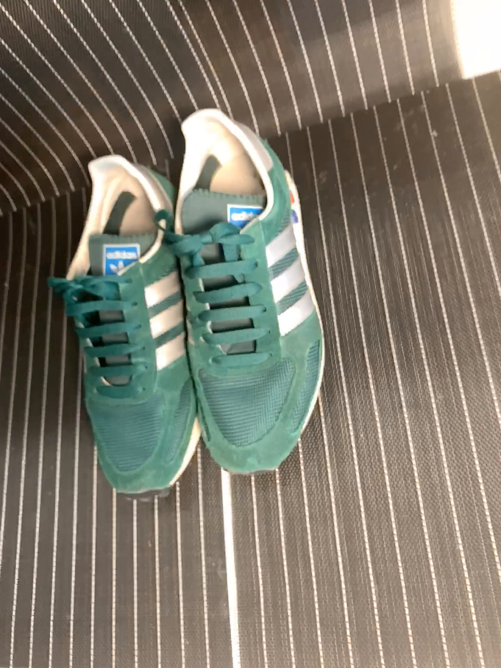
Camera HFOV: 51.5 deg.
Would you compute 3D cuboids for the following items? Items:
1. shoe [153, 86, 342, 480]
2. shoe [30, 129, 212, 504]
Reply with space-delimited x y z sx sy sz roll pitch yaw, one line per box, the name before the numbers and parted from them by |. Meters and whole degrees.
shoe | -0.002 -0.032 0.421 0.100 0.120 0.280 -9 70 19
shoe | -0.100 -0.012 0.438 0.100 0.090 0.290 -9 70 19
